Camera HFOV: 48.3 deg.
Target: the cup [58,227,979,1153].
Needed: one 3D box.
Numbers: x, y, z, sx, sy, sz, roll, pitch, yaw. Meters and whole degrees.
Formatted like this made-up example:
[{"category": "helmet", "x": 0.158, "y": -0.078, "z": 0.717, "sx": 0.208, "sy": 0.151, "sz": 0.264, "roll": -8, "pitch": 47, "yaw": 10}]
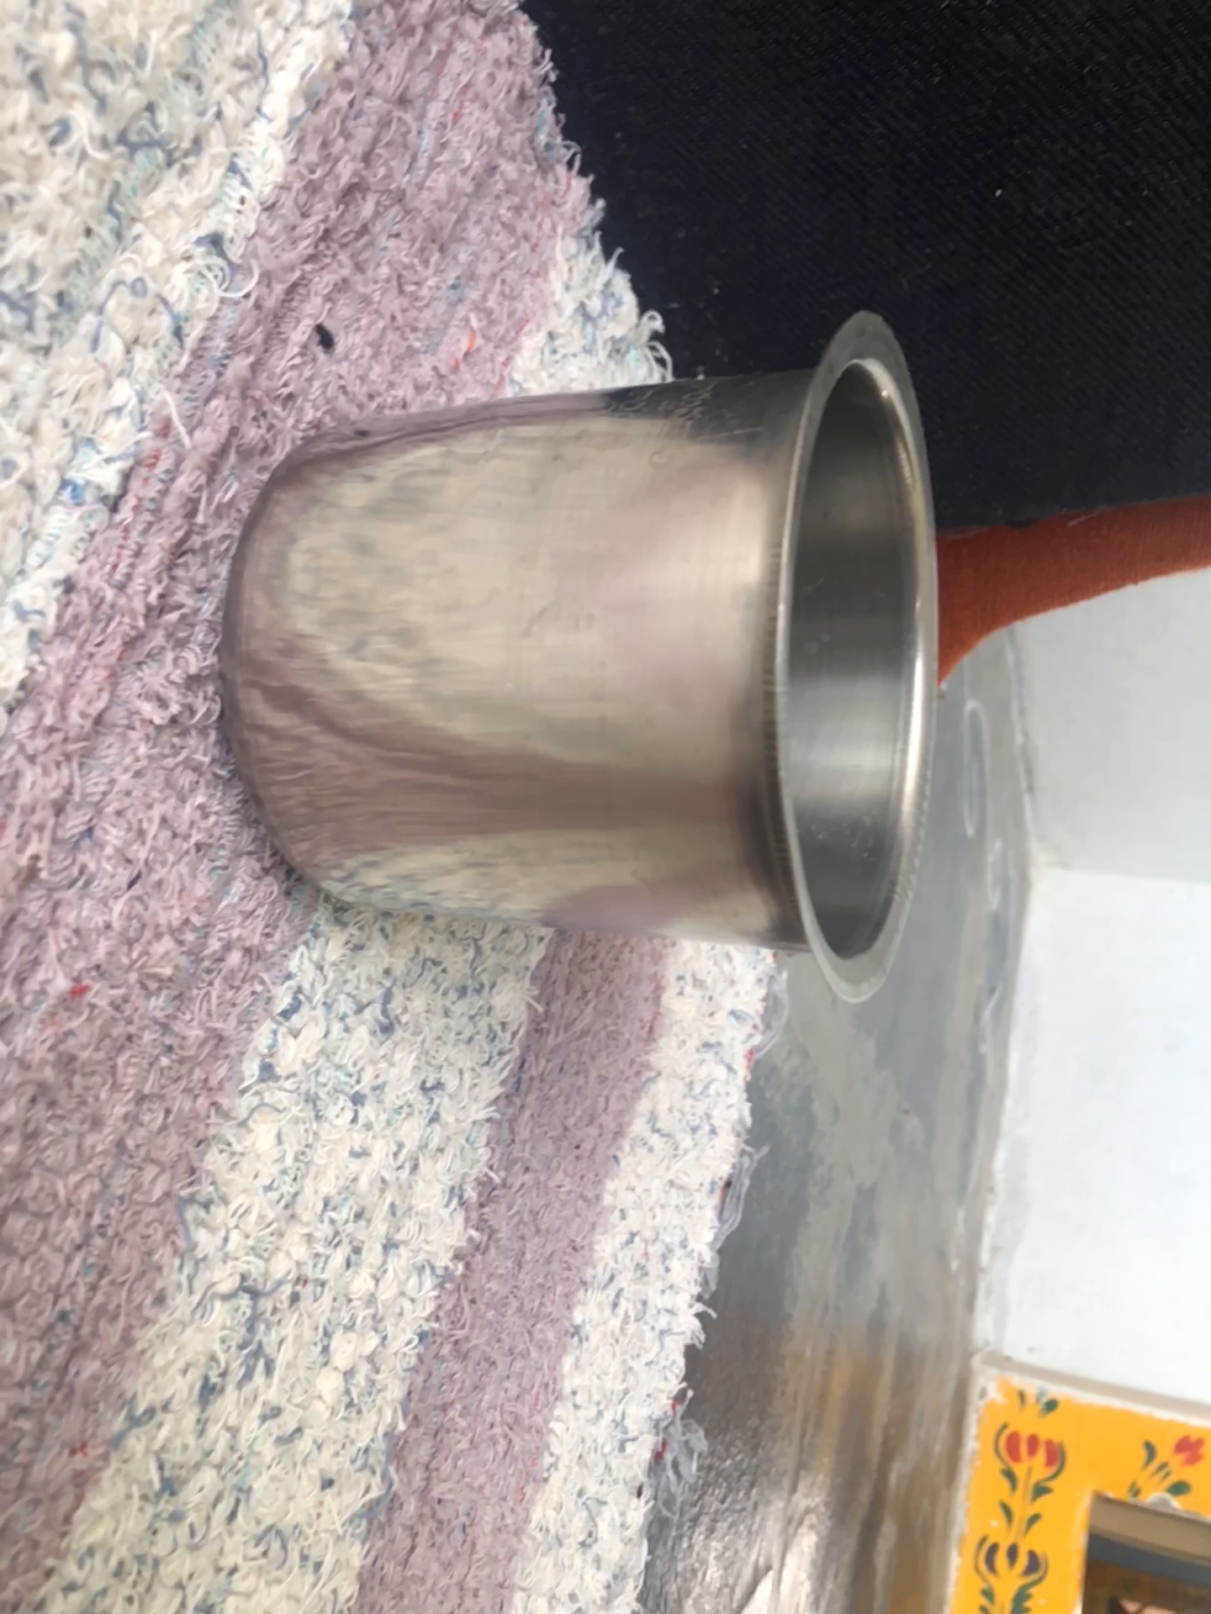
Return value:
[{"category": "cup", "x": 0.001, "y": -0.018, "z": 0.225, "sx": 0.100, "sy": 0.099, "sz": 0.100, "roll": 4, "pitch": 90, "yaw": -68}]
